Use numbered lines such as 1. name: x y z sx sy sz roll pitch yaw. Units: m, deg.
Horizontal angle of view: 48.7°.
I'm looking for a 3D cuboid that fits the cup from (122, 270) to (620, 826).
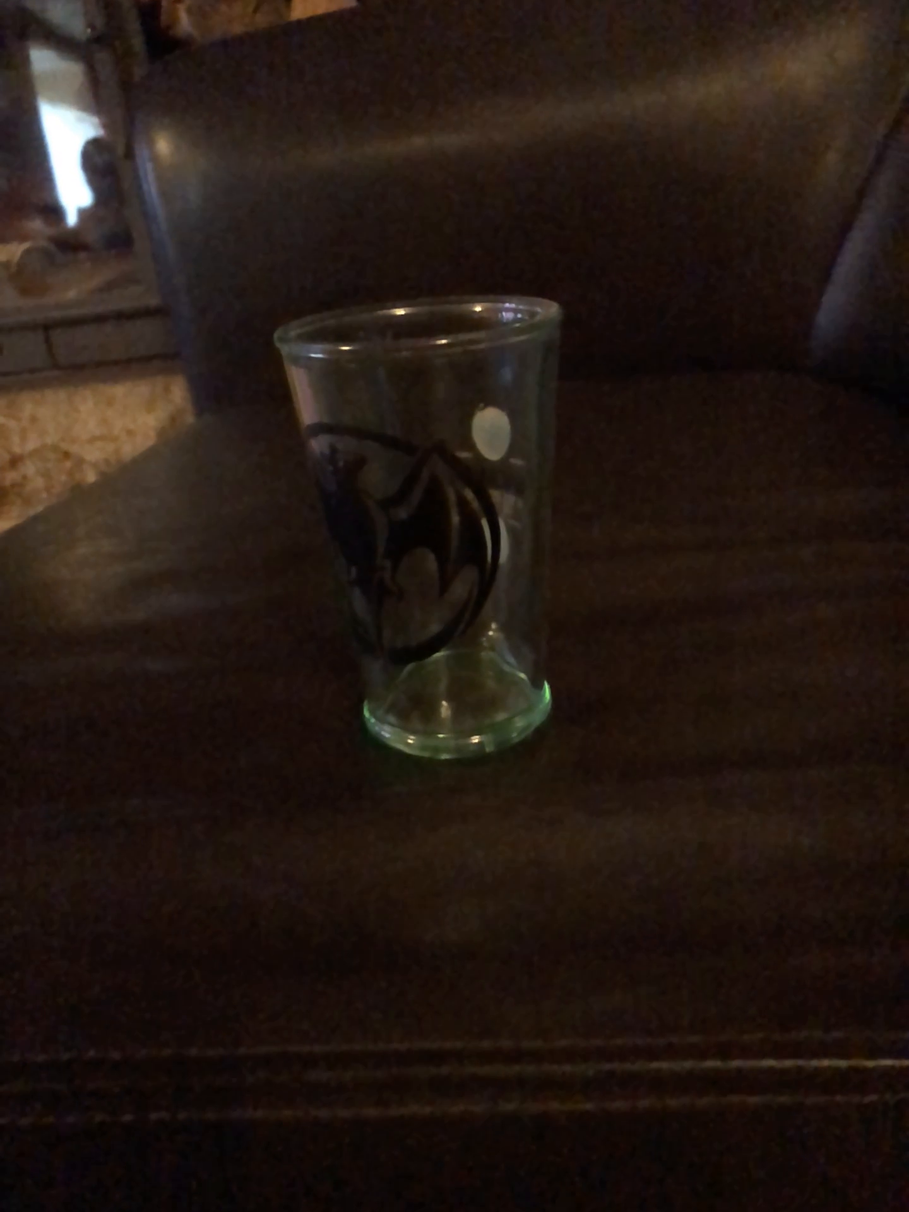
1. cup: -0.017 -0.024 0.278 0.084 0.117 0.088 -6 24 3
